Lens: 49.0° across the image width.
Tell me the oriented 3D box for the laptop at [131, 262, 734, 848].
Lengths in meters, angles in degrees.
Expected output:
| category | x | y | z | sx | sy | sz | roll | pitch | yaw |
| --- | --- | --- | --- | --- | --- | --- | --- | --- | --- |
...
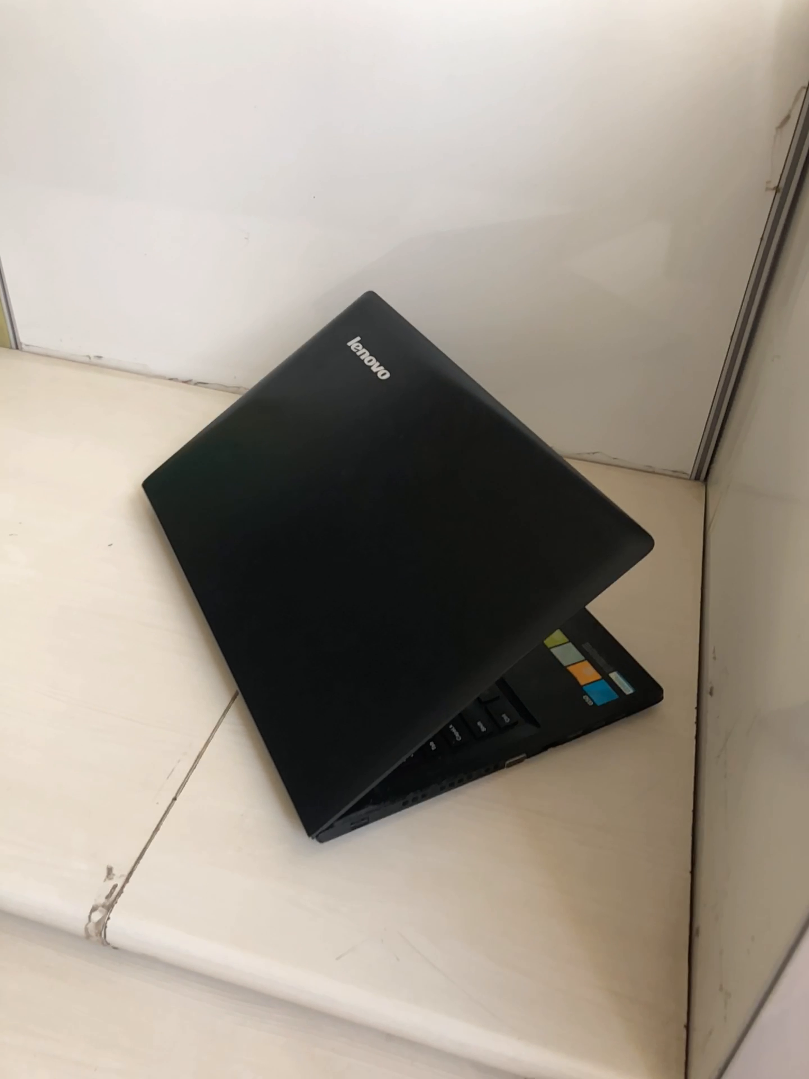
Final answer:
| category | x | y | z | sx | sy | sz | roll | pitch | yaw |
| --- | --- | --- | --- | --- | --- | --- | --- | --- | --- |
| laptop | -0.016 | -0.028 | 0.642 | 0.252 | 0.161 | 0.376 | -18 | 43 | -20 |
